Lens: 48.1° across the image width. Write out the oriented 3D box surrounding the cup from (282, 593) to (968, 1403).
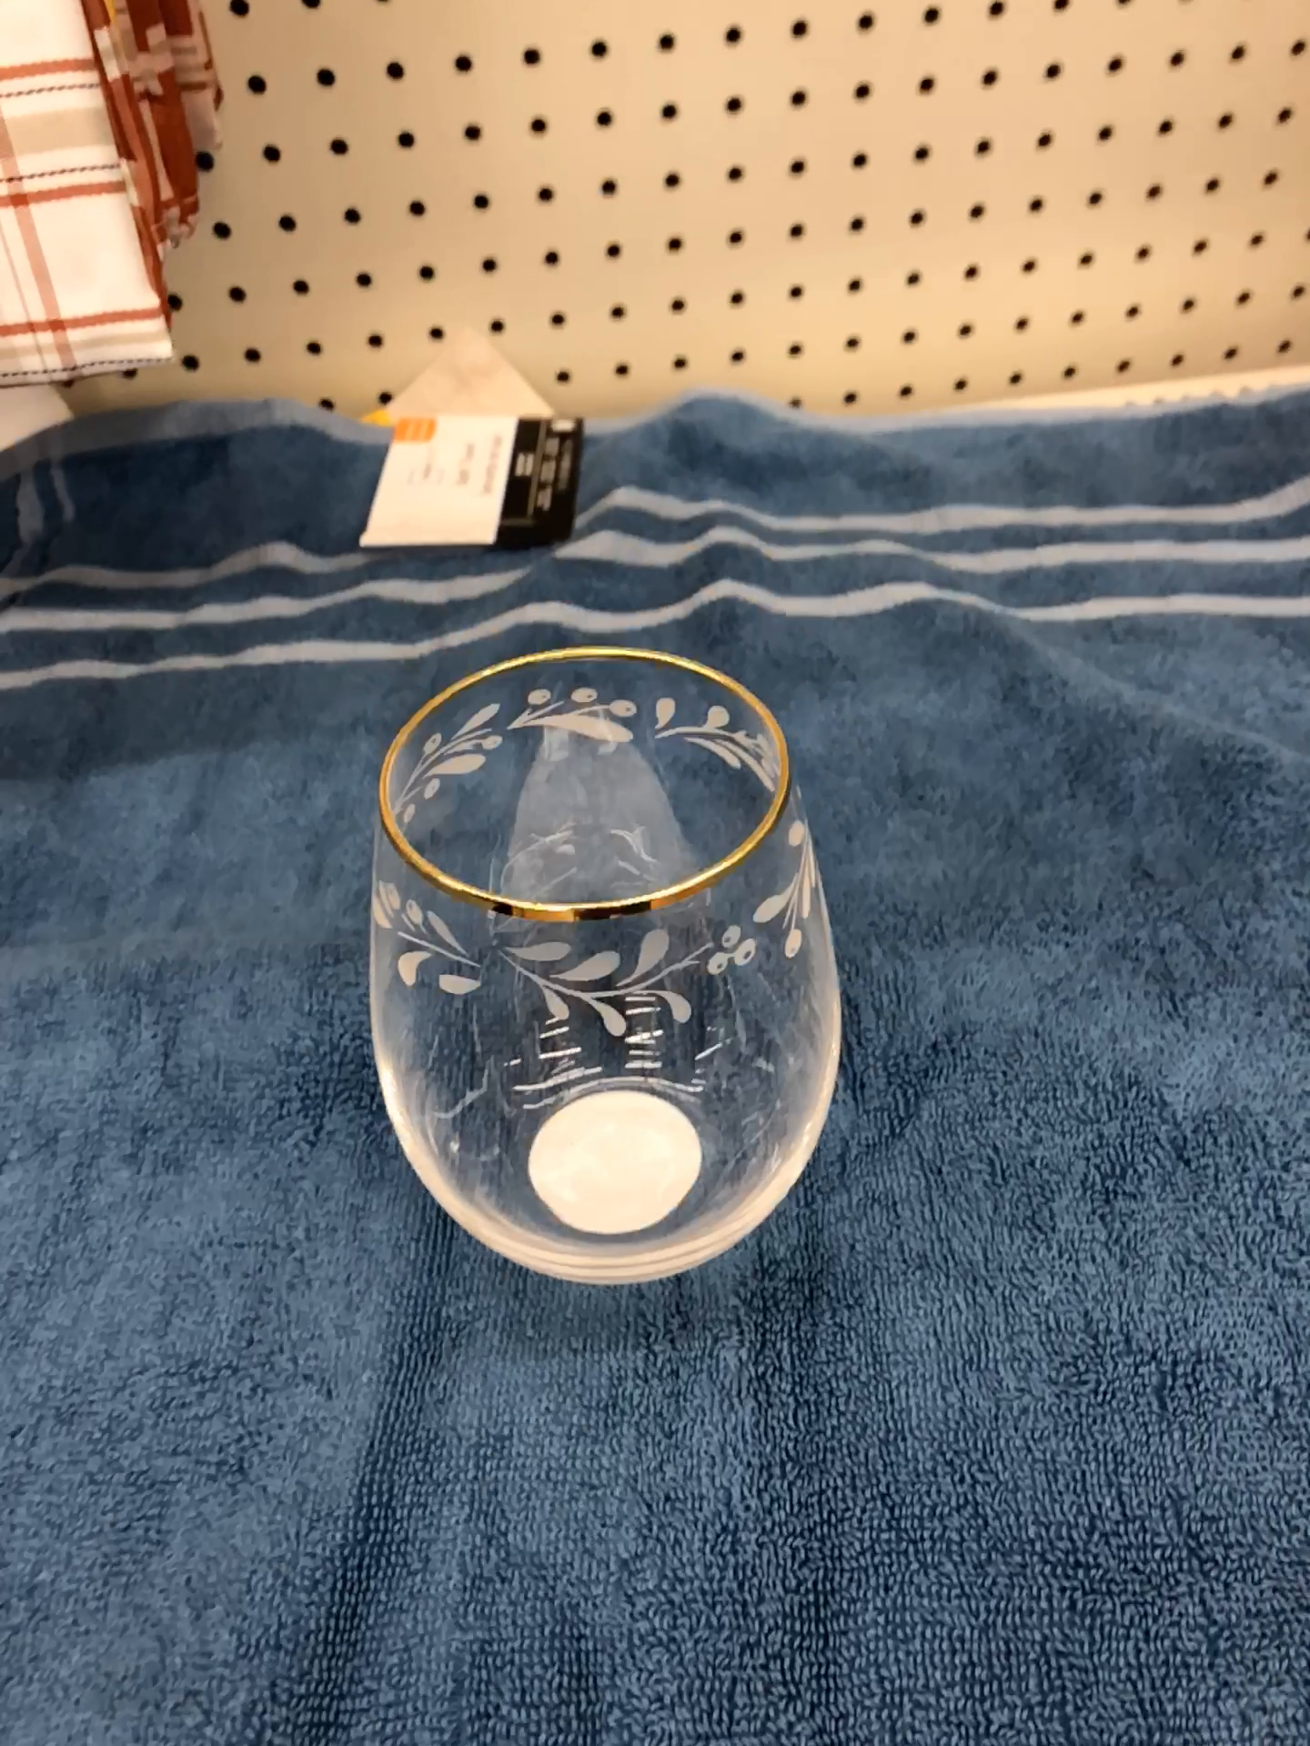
[{"bbox_3d":[-0.005,0.022,0.258,0.090,0.100,0.090,-2,43,2],"label":"cup"}]
